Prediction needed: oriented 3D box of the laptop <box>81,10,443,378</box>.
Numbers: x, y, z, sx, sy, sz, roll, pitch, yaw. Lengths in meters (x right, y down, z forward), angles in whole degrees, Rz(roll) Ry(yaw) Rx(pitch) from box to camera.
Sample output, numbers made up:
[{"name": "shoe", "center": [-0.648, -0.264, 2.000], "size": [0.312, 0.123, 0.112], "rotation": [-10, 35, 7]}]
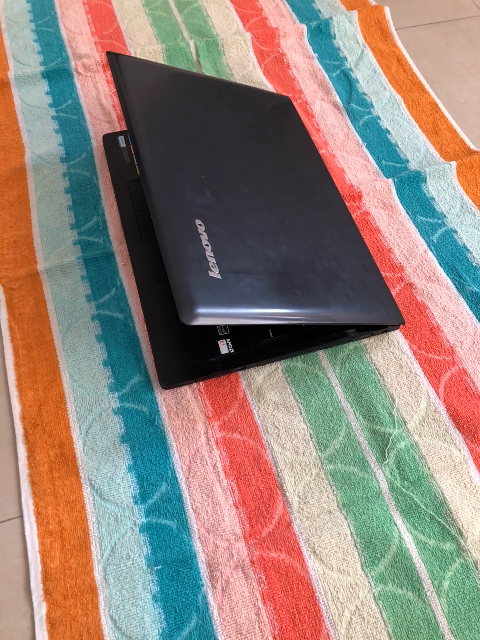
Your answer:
[{"name": "laptop", "center": [0.000, -0.156, 0.567], "size": [0.253, 0.125, 0.364], "rotation": [-13, 61, -12]}]
